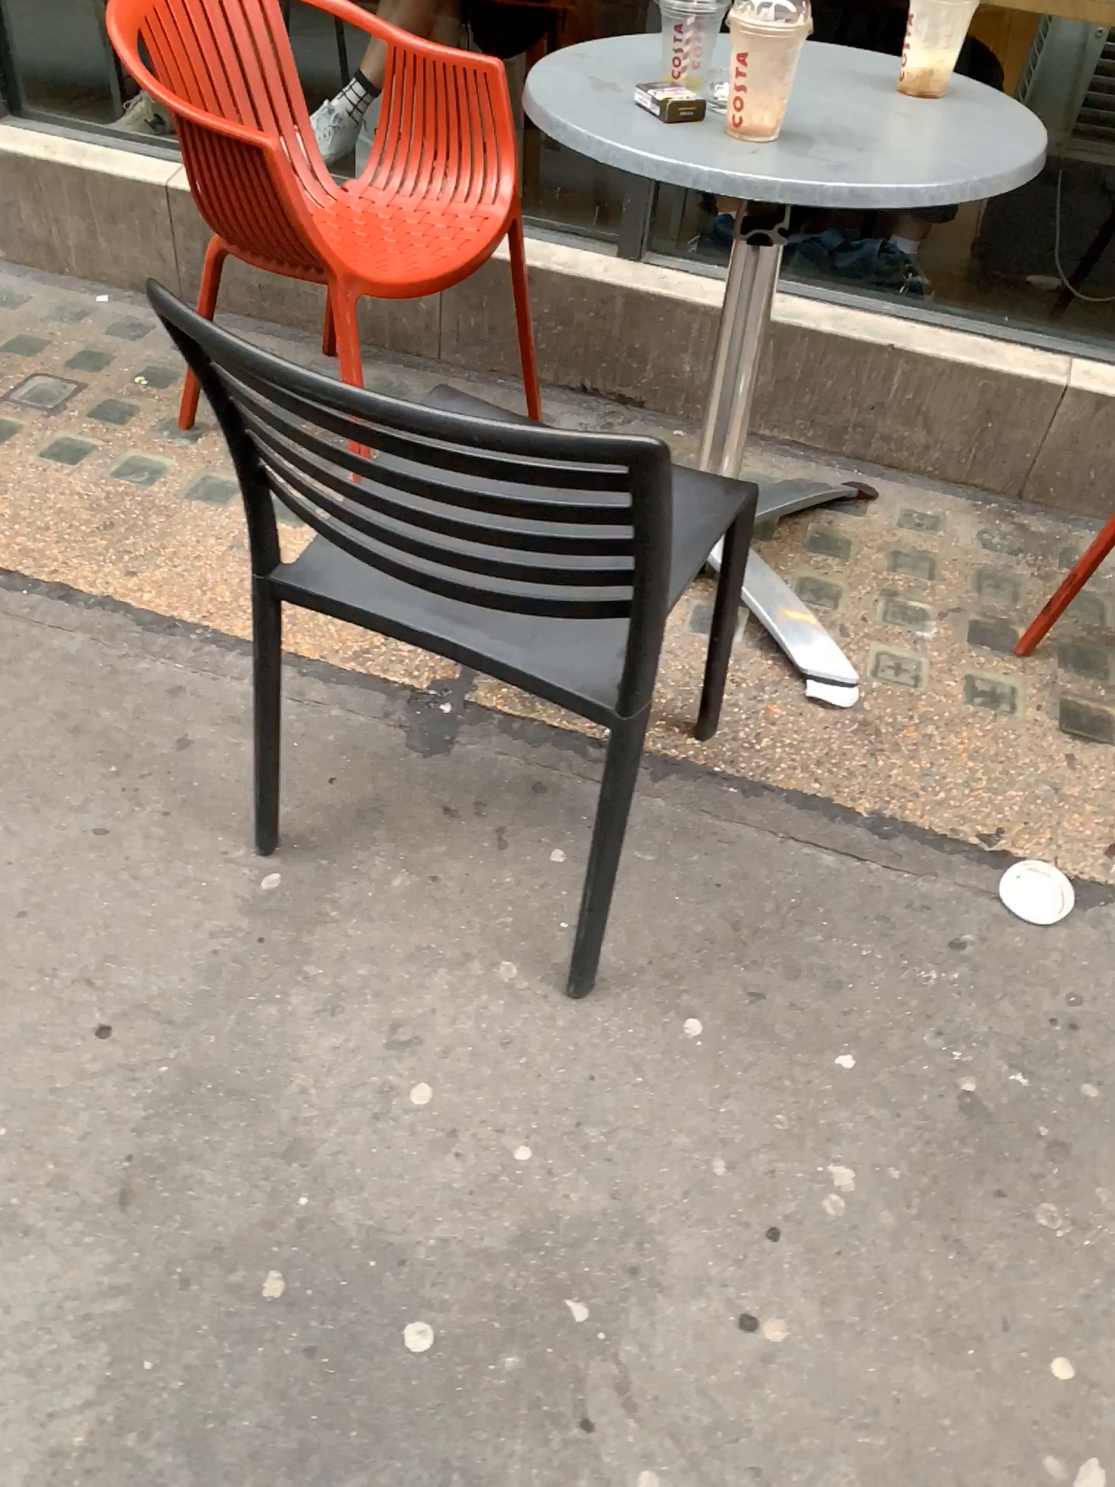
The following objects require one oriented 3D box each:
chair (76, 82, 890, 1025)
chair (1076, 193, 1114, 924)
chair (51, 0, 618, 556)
[{"bbox_3d":[-0.050,-0.222,1.311,0.551,0.753,0.605,20,46,13],"label":"chair"},{"bbox_3d":[1.429,-0.297,1.715,0.701,0.772,0.645,-12,47,-19],"label":"chair"},{"bbox_3d":[-0.356,-0.889,1.998,0.642,0.743,0.574,27,48,19],"label":"chair"}]
